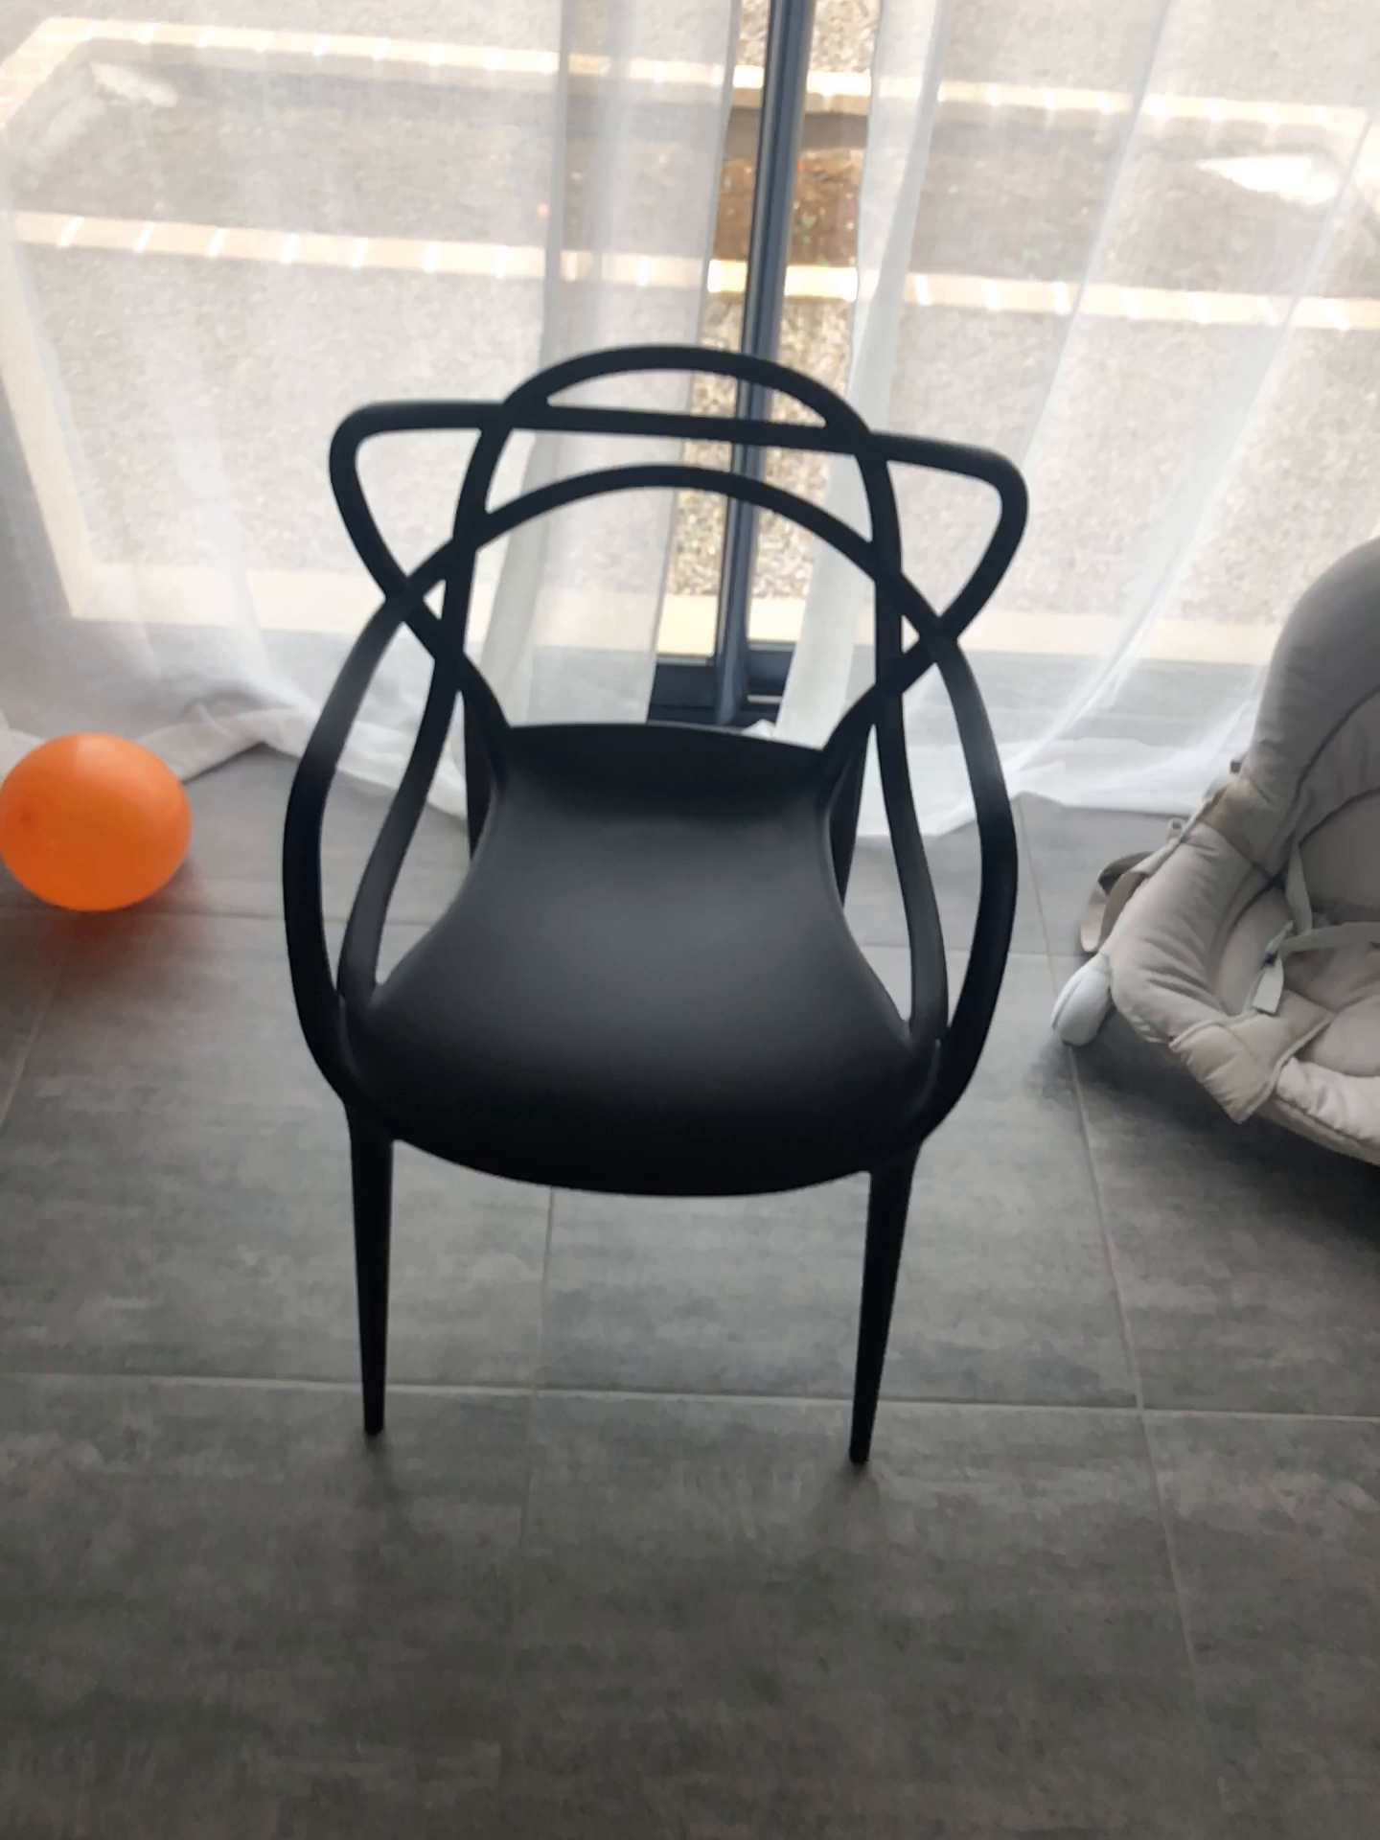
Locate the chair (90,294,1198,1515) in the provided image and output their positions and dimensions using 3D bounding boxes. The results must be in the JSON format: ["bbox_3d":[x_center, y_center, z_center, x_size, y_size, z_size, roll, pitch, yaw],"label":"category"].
[{"bbox_3d":[-0.032,0.025,1.260,0.563,0.795,0.589,4,47,-1],"label":"chair"}]
